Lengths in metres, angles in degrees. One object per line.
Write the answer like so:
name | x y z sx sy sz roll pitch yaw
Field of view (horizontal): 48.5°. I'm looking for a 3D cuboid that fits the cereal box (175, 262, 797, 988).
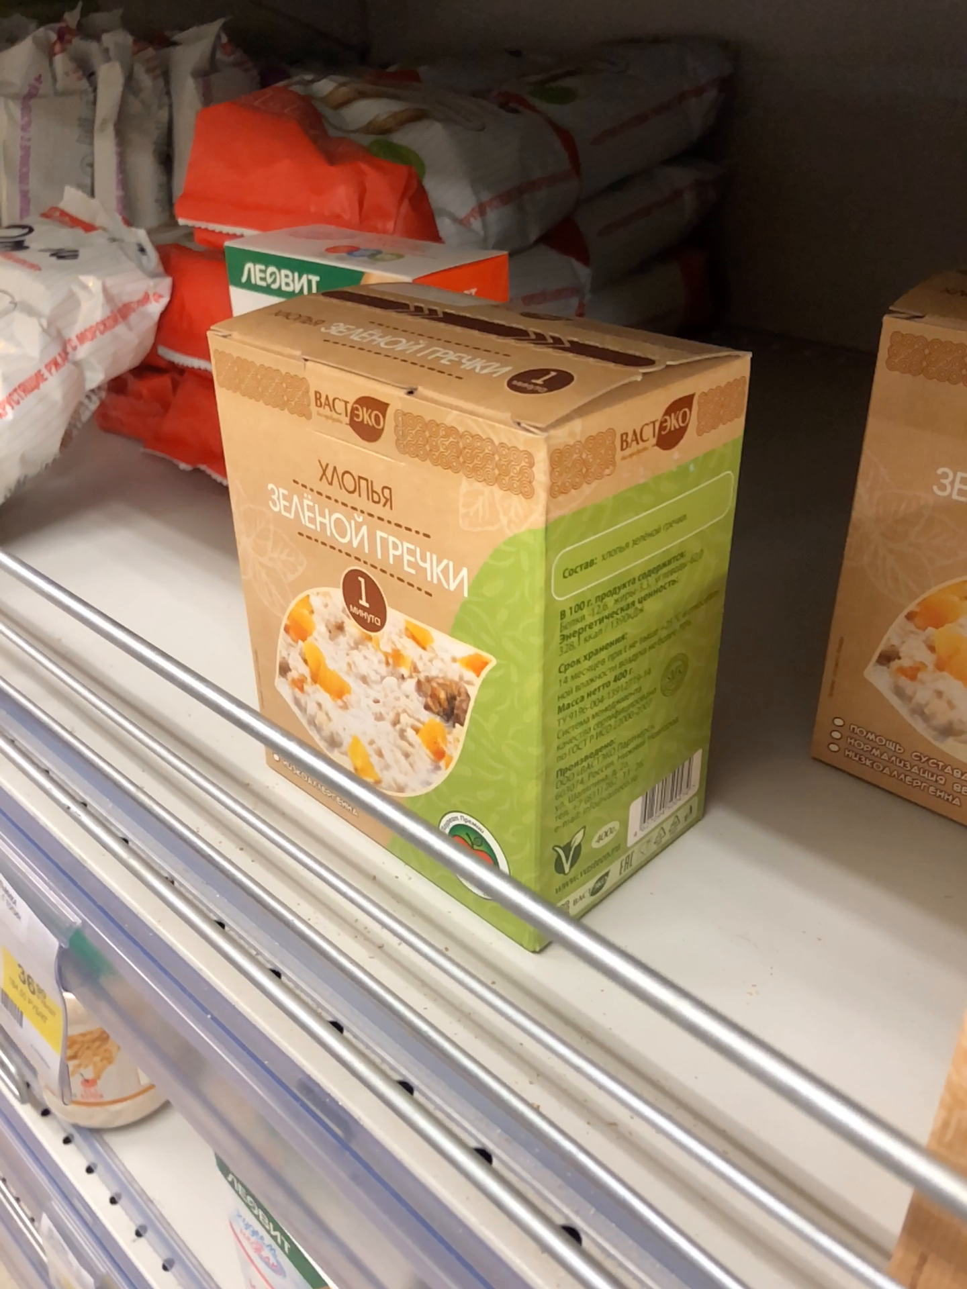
cereal box | -0.001 -0.015 0.306 0.090 0.149 0.130 -28 40 -37
